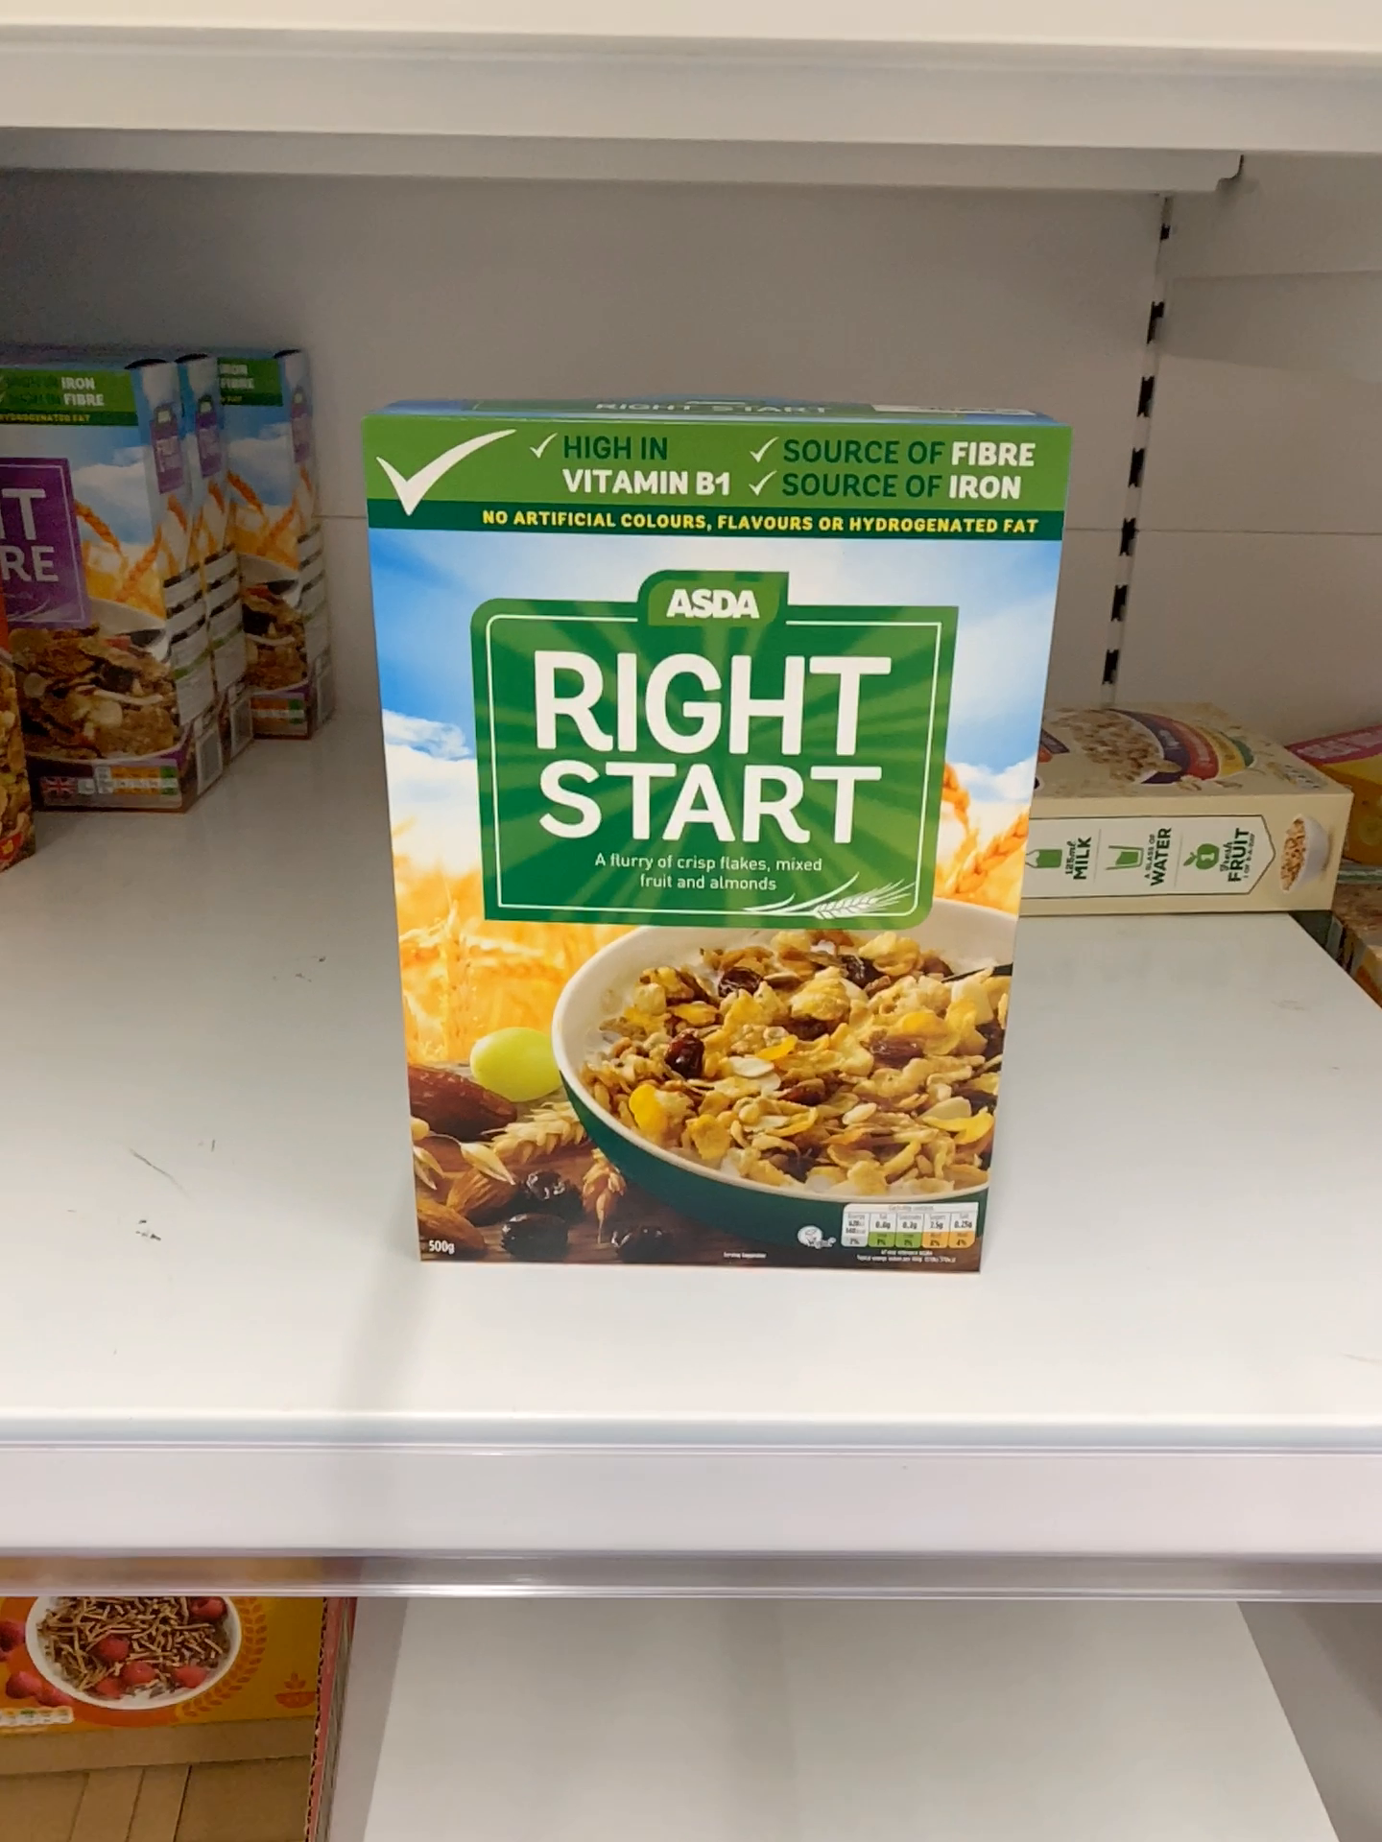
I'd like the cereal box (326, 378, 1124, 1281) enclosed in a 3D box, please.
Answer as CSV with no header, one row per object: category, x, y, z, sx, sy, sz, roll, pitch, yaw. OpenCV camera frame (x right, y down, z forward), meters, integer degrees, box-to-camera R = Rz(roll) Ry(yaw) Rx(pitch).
cereal box,0.007,-0.022,0.441,0.200,0.268,0.071,1,24,0
